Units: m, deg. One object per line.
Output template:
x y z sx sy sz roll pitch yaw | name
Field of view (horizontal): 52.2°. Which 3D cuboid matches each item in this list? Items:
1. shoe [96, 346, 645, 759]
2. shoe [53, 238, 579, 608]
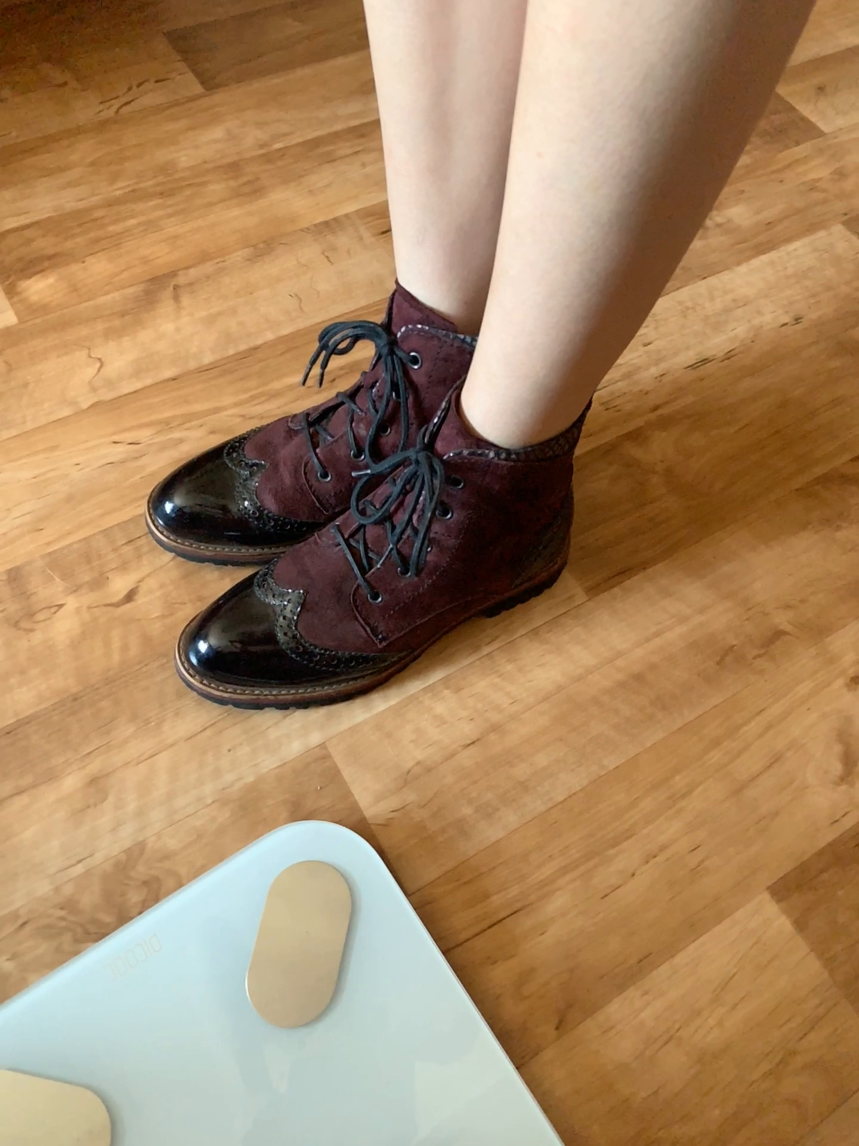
-0.031 -0.011 0.506 0.260 0.140 0.100 -21 65 -17 | shoe
-0.064 -0.089 0.528 0.260 0.140 0.100 -16 64 -14 | shoe
